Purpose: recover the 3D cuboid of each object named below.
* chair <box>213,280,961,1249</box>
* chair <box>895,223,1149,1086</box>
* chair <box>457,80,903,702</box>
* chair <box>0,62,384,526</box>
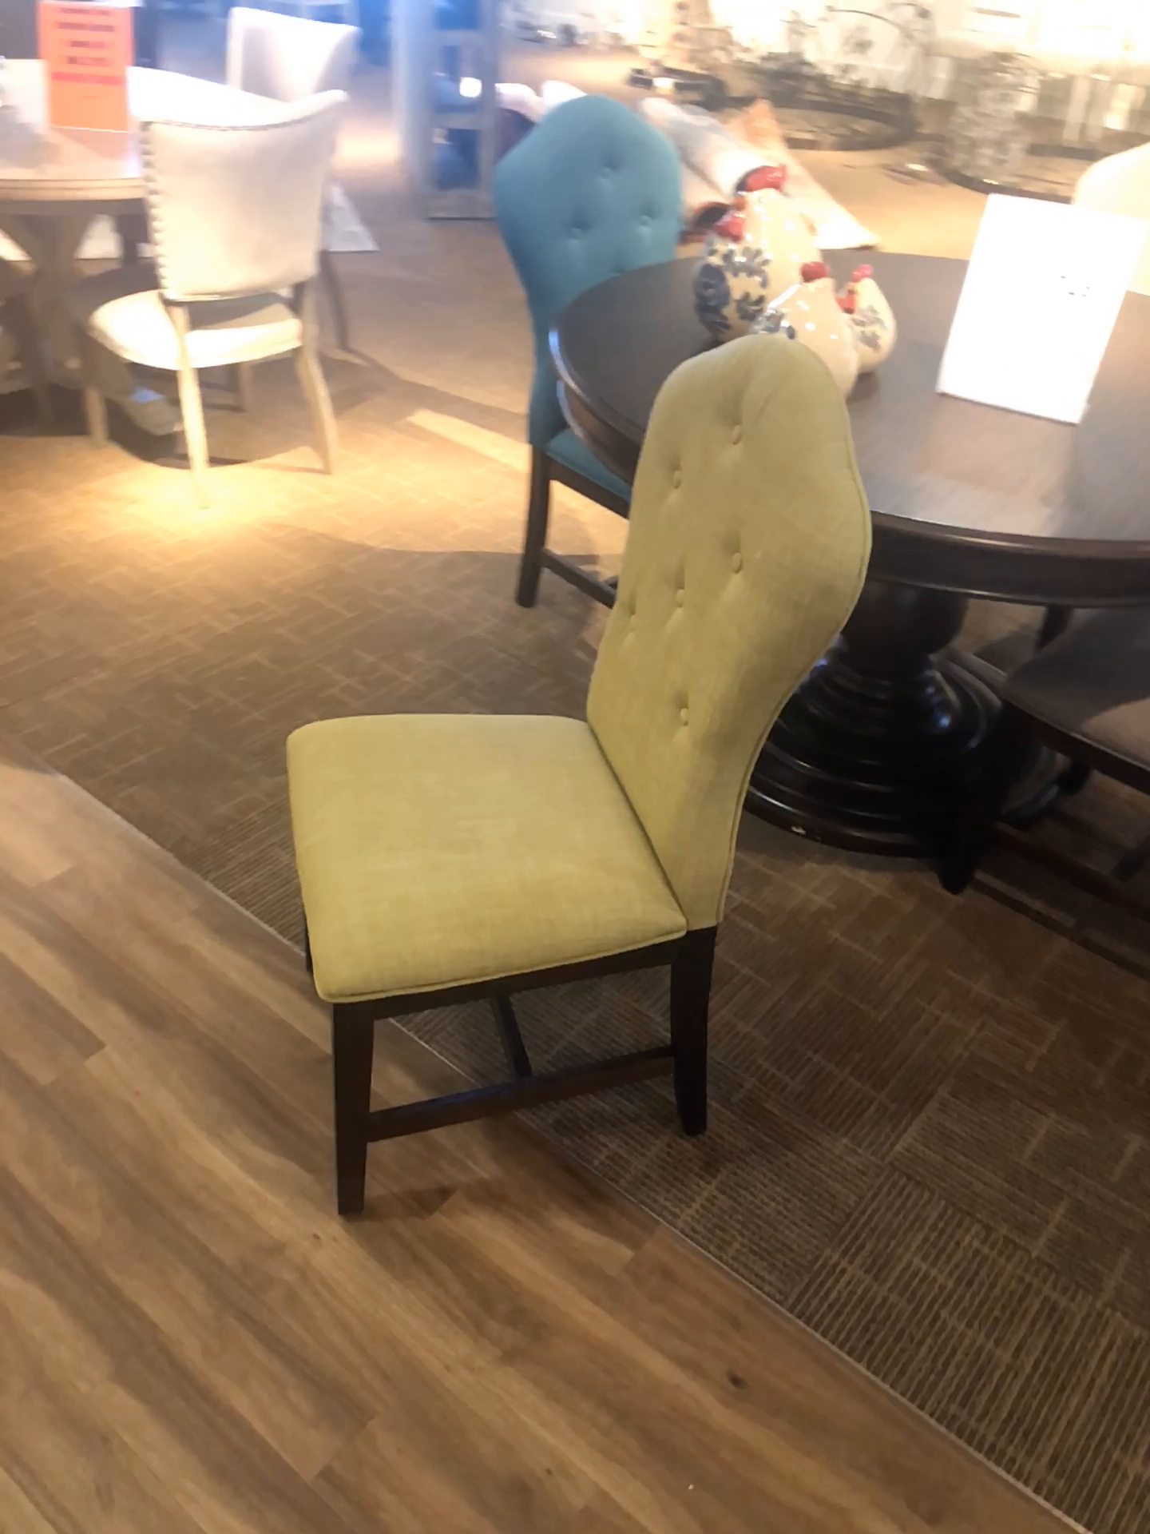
[{"bbox_3d":[-0.052,-0.002,1.532,0.615,0.980,0.541,-7,37,-14],"label":"chair"},{"bbox_3d":[0.966,-0.178,1.811,0.636,0.950,0.510,32,45,33],"label":"chair"},{"bbox_3d":[0.153,-0.743,2.460,0.520,0.960,0.576,-26,45,-34],"label":"chair"},{"bbox_3d":[-0.974,-1.256,3.300,0.700,0.940,0.576,-25,45,-34],"label":"chair"}]
